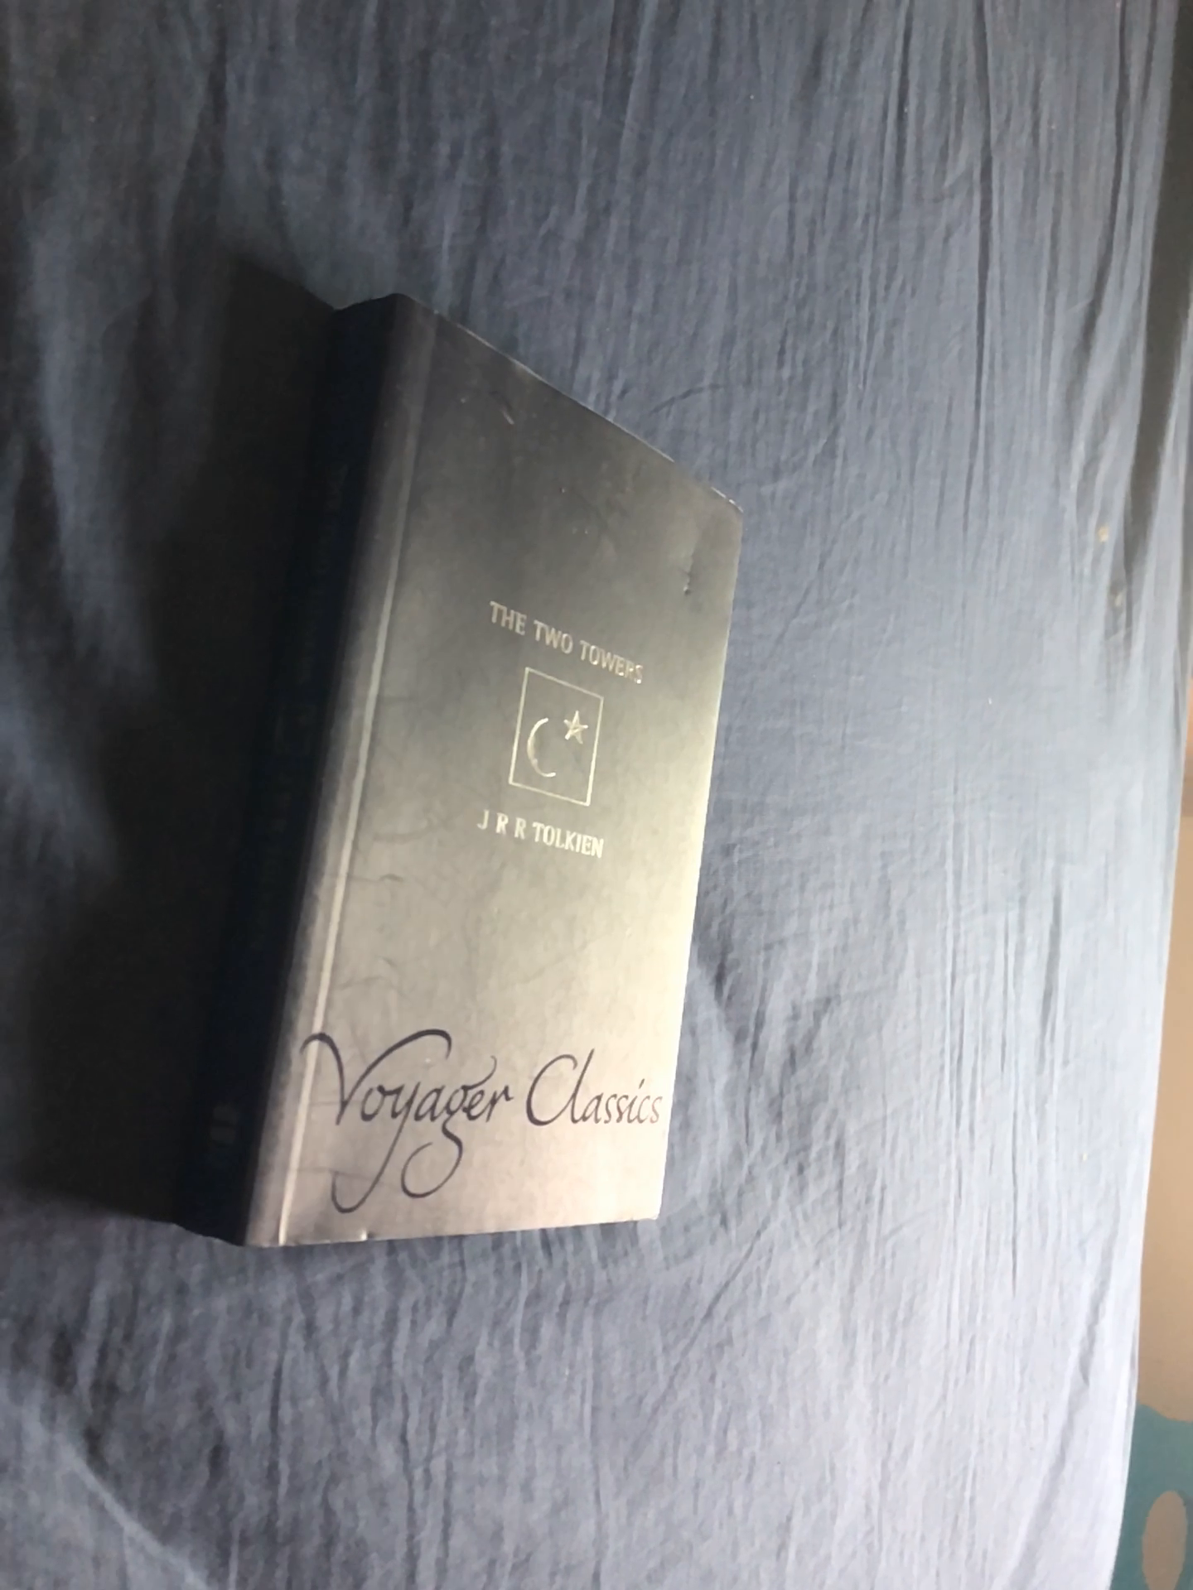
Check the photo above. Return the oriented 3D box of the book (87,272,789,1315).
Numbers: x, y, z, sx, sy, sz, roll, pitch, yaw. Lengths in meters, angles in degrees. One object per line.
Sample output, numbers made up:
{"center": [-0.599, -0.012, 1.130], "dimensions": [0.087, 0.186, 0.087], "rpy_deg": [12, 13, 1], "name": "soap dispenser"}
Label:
{"center": [-0.024, 0.006, 0.309], "dimensions": [0.141, 0.060, 0.190], "rpy_deg": [16, 79, -52], "name": "book"}
